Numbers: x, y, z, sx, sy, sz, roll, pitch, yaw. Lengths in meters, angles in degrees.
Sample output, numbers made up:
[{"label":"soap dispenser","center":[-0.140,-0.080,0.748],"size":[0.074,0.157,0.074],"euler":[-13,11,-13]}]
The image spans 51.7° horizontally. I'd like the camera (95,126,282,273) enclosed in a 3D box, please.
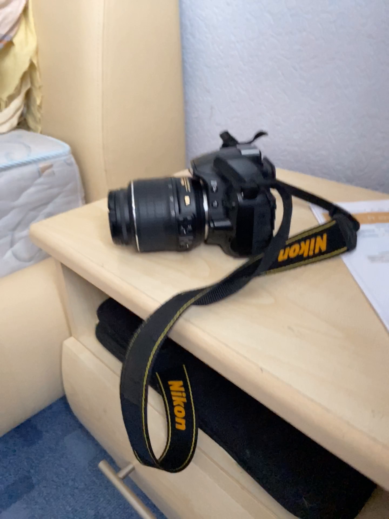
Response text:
[{"label":"camera","center":[-0.009,-0.065,0.396],"size":[0.152,0.091,0.119],"euler":[-6,31,-6]}]
